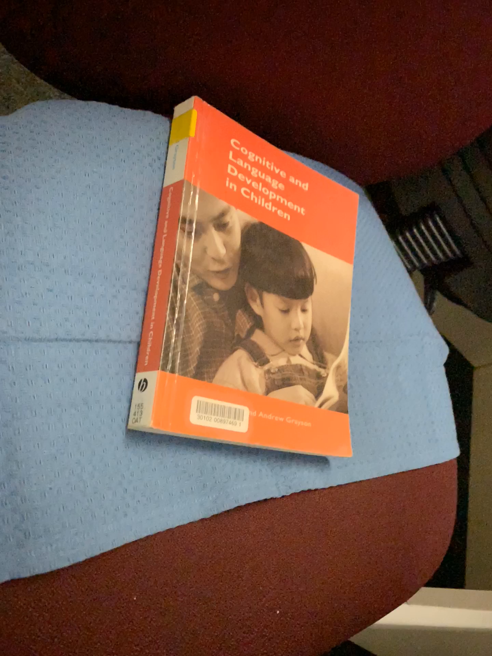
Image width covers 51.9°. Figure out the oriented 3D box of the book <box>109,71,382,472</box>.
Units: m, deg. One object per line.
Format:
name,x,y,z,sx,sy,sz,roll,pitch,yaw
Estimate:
book,0.018,-0.032,0.413,0.200,0.060,0.271,16,71,-33
